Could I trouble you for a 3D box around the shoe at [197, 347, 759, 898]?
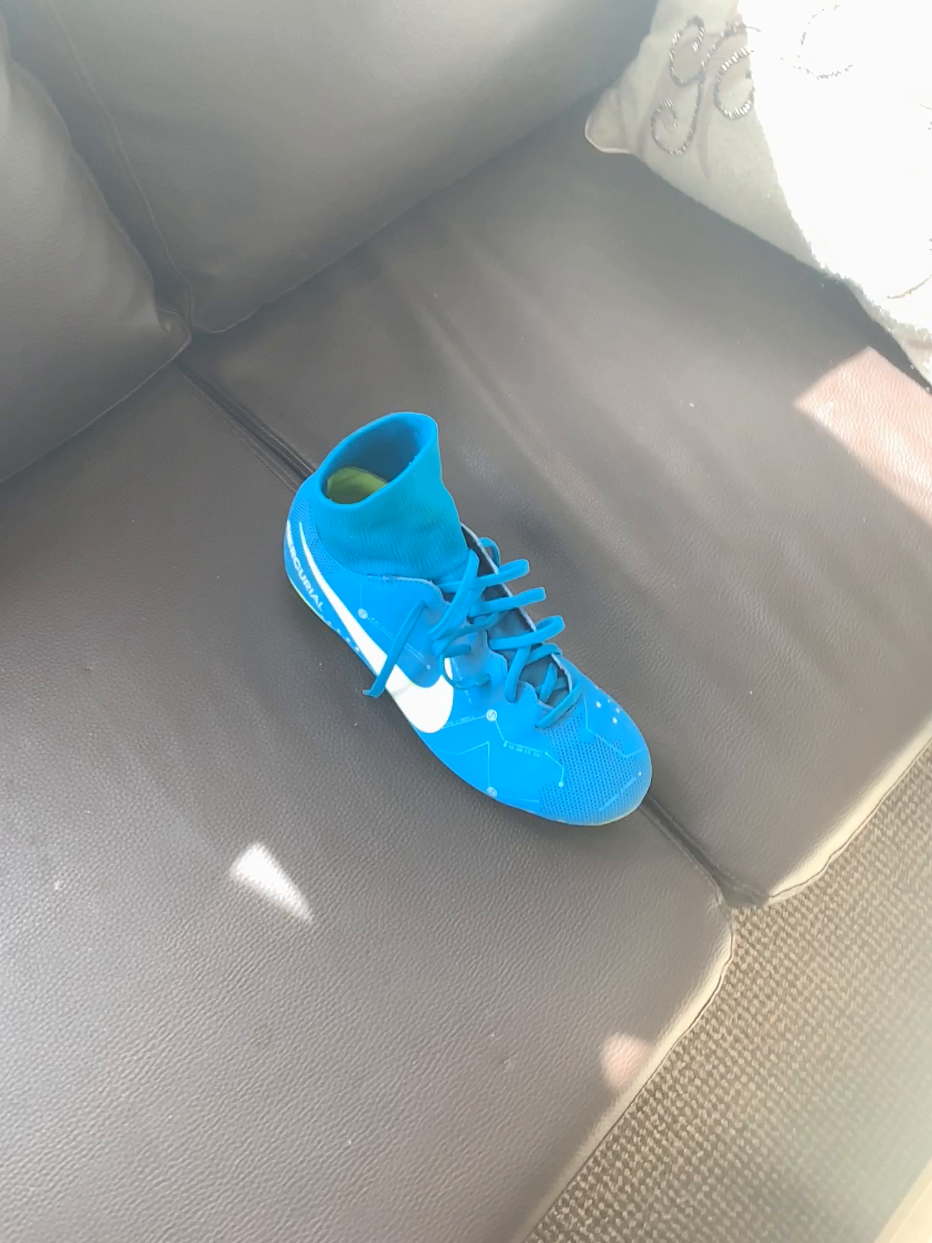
[{"bbox_3d":[-0.003,0.004,0.472,0.250,0.119,0.098,43,70,12],"label":"shoe"}]
